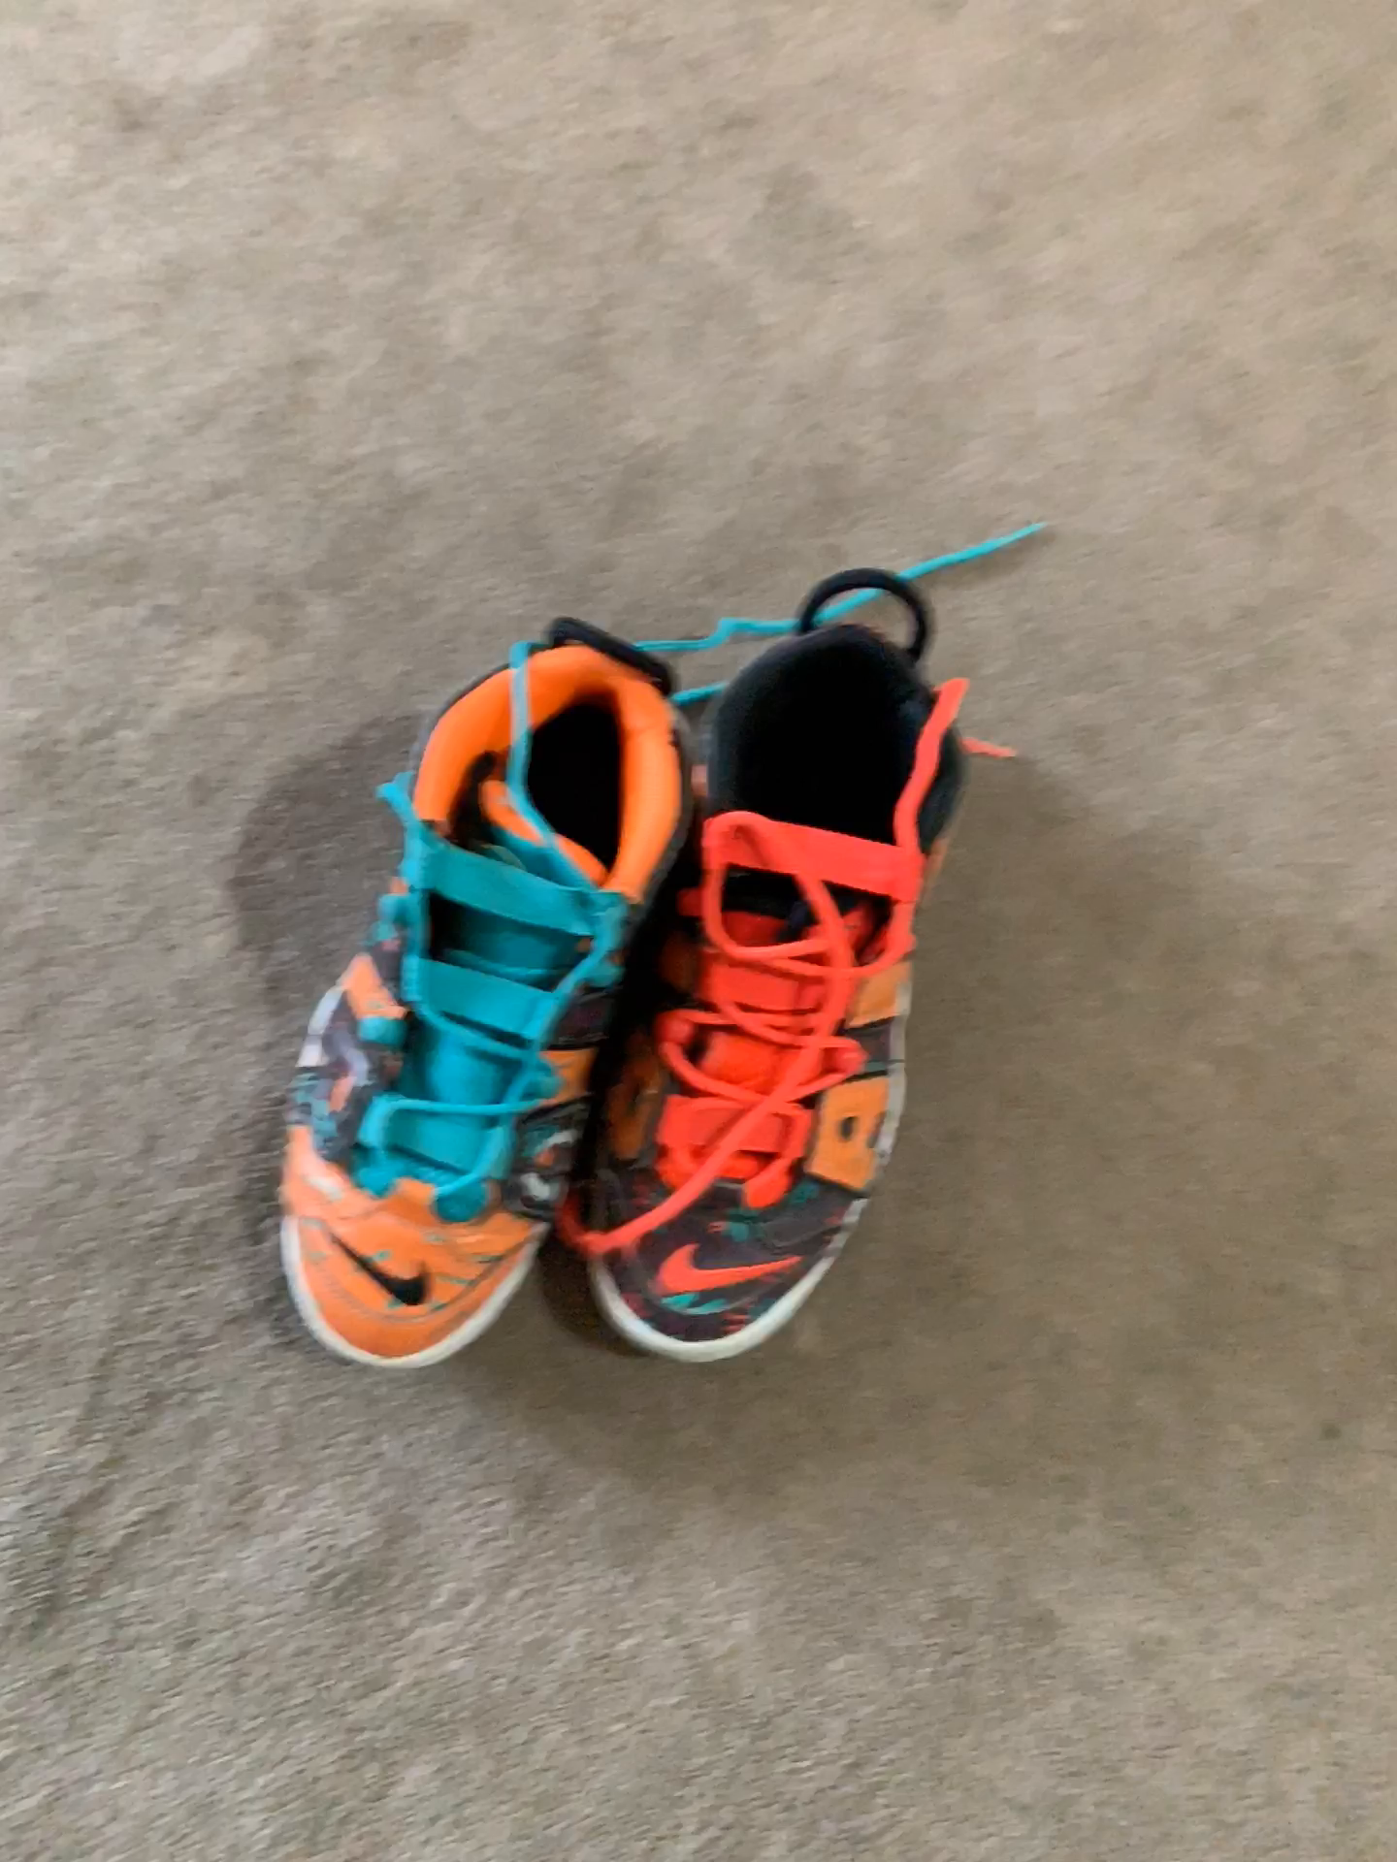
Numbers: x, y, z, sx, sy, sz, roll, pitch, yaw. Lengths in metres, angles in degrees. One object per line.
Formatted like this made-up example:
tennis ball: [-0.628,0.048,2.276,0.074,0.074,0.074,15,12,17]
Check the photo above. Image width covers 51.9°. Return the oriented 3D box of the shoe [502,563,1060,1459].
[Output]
shoe: [0.028,0.023,0.451,0.100,0.110,0.230,14,83,5]

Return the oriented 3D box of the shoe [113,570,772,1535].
shoe: [-0.069,0.033,0.447,0.100,0.090,0.250,20,83,2]
